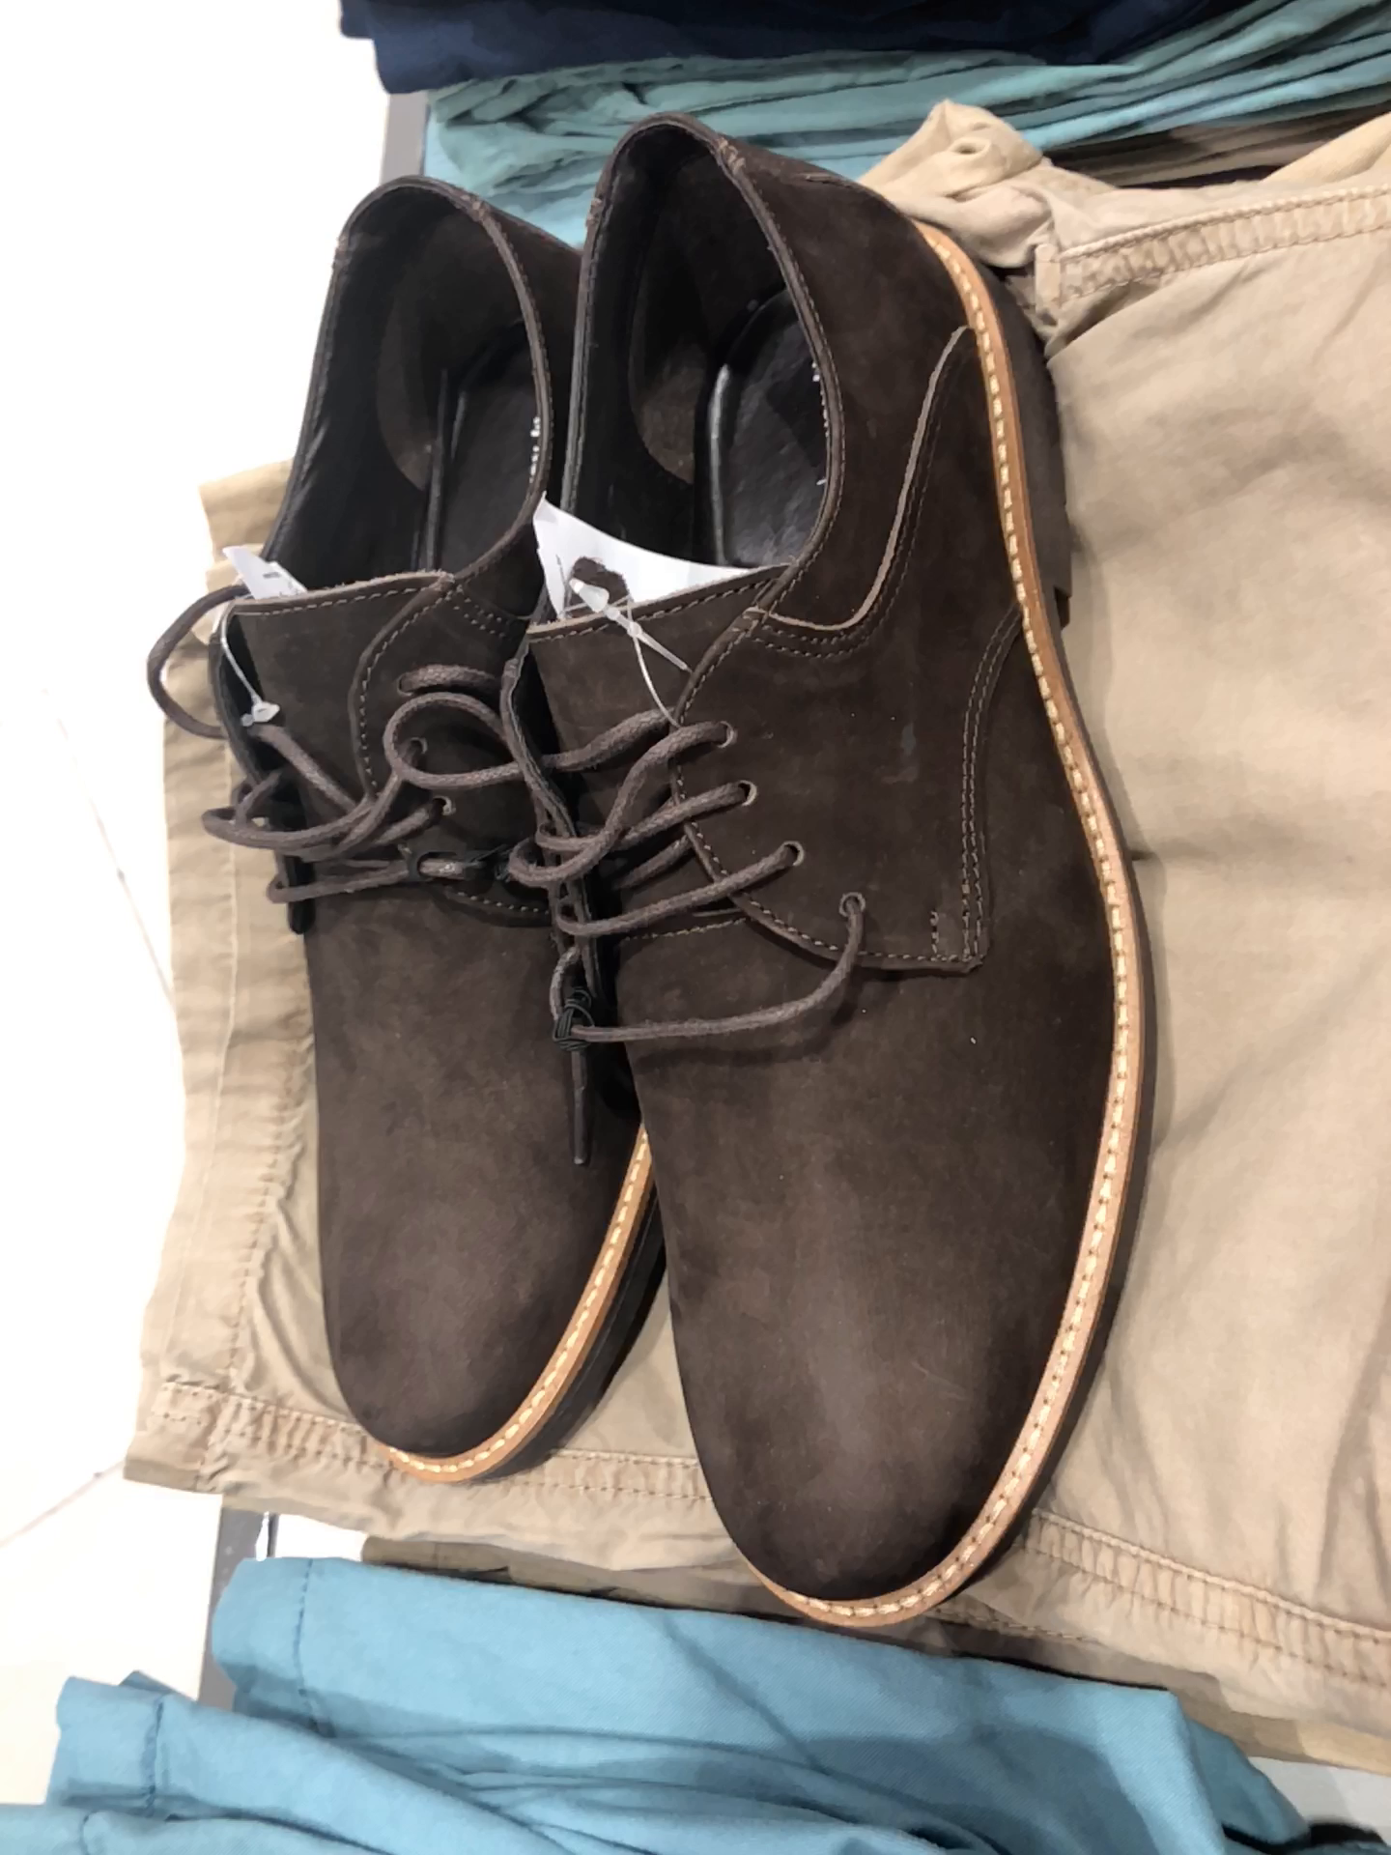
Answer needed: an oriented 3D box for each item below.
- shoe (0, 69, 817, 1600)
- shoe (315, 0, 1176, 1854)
[{"bbox_3d":[-0.058,-0.017,0.337,0.110,0.110,0.260,3,88,32],"label":"shoe"},{"bbox_3d":[0.013,0.000,0.278,0.100,0.110,0.260,-6,80,36],"label":"shoe"}]
